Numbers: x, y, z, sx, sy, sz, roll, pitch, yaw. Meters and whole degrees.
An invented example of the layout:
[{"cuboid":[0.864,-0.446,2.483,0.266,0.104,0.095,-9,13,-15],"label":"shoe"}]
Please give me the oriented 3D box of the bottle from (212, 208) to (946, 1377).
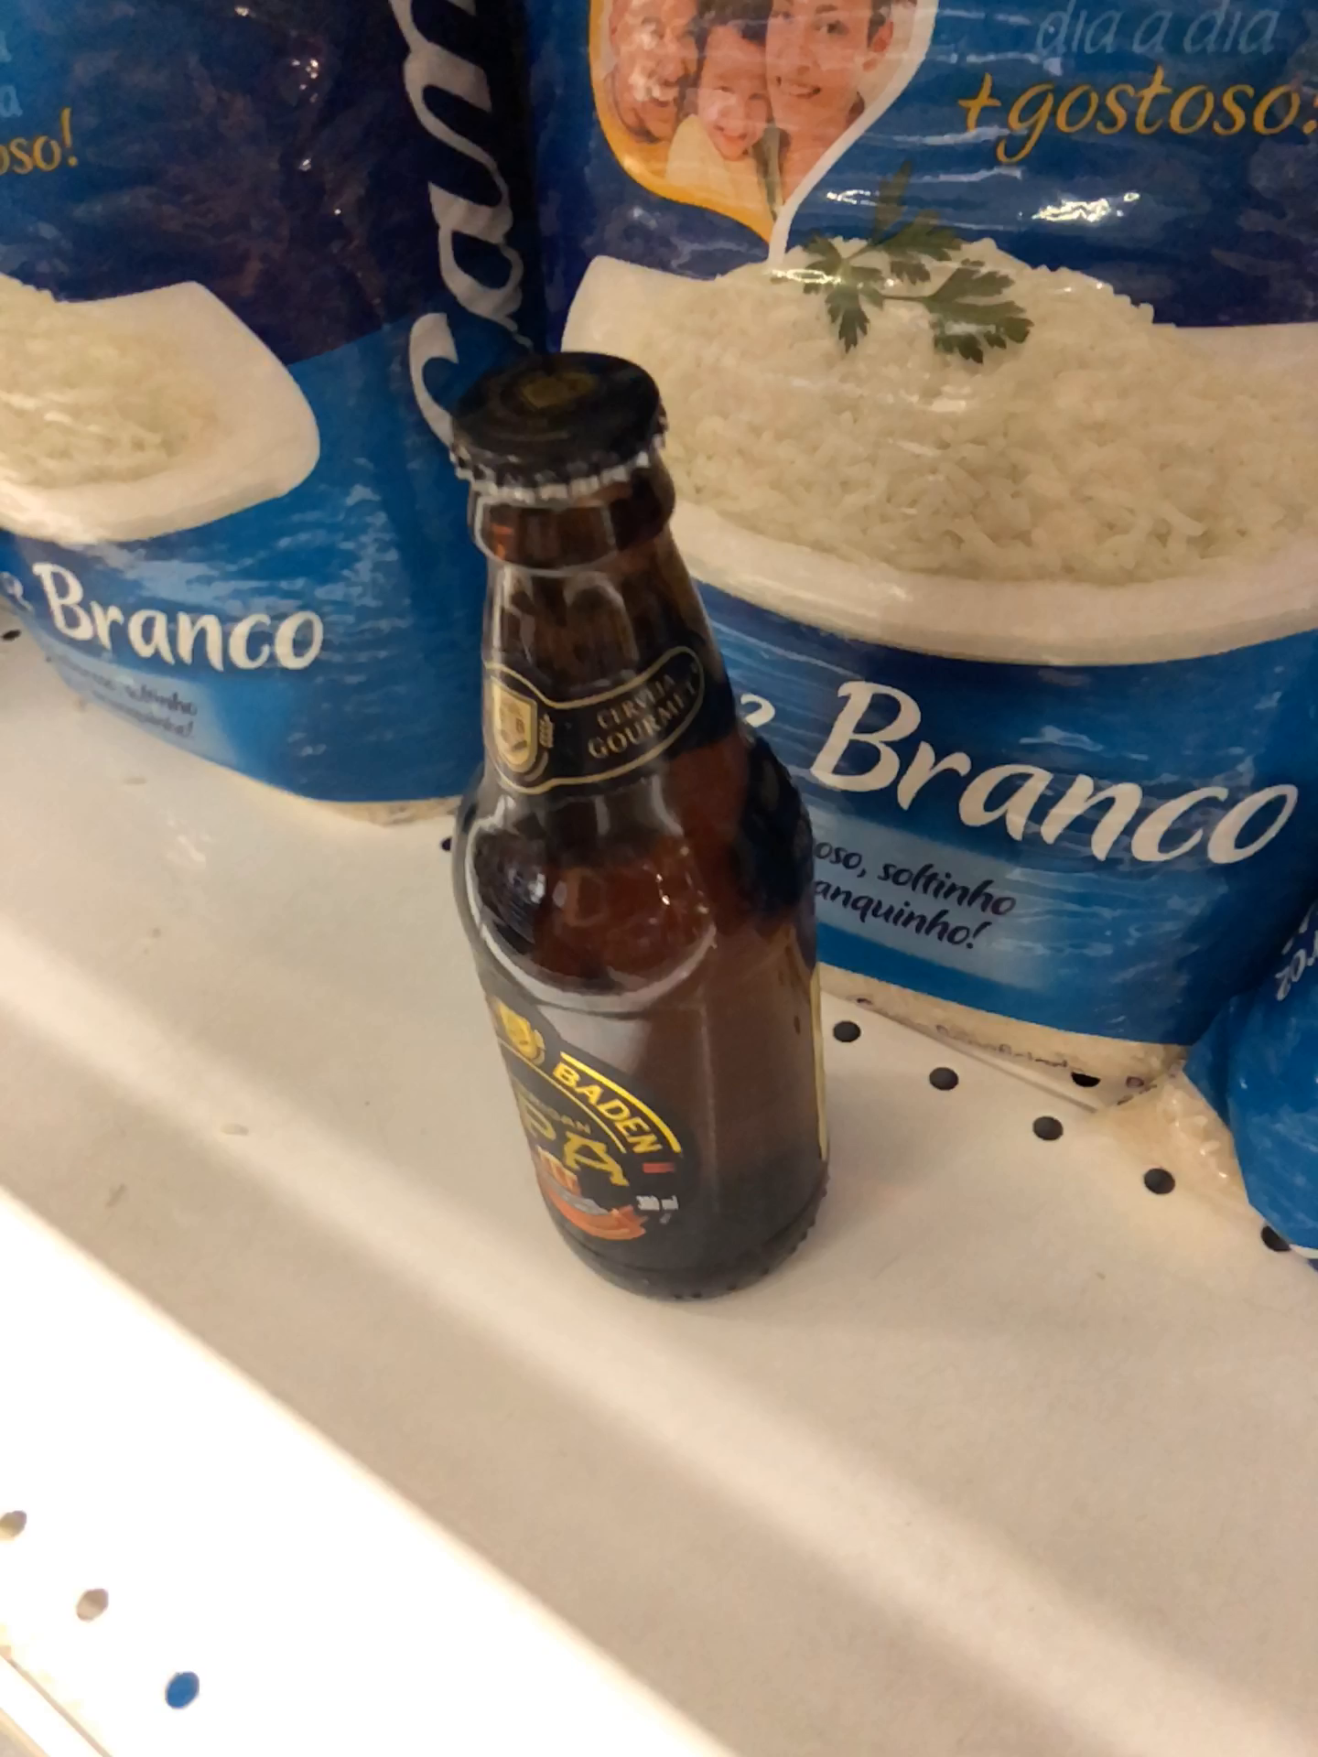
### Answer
[{"cuboid":[-0.001,0.000,0.250,0.070,0.189,0.060,33,59,32],"label":"bottle"}]
